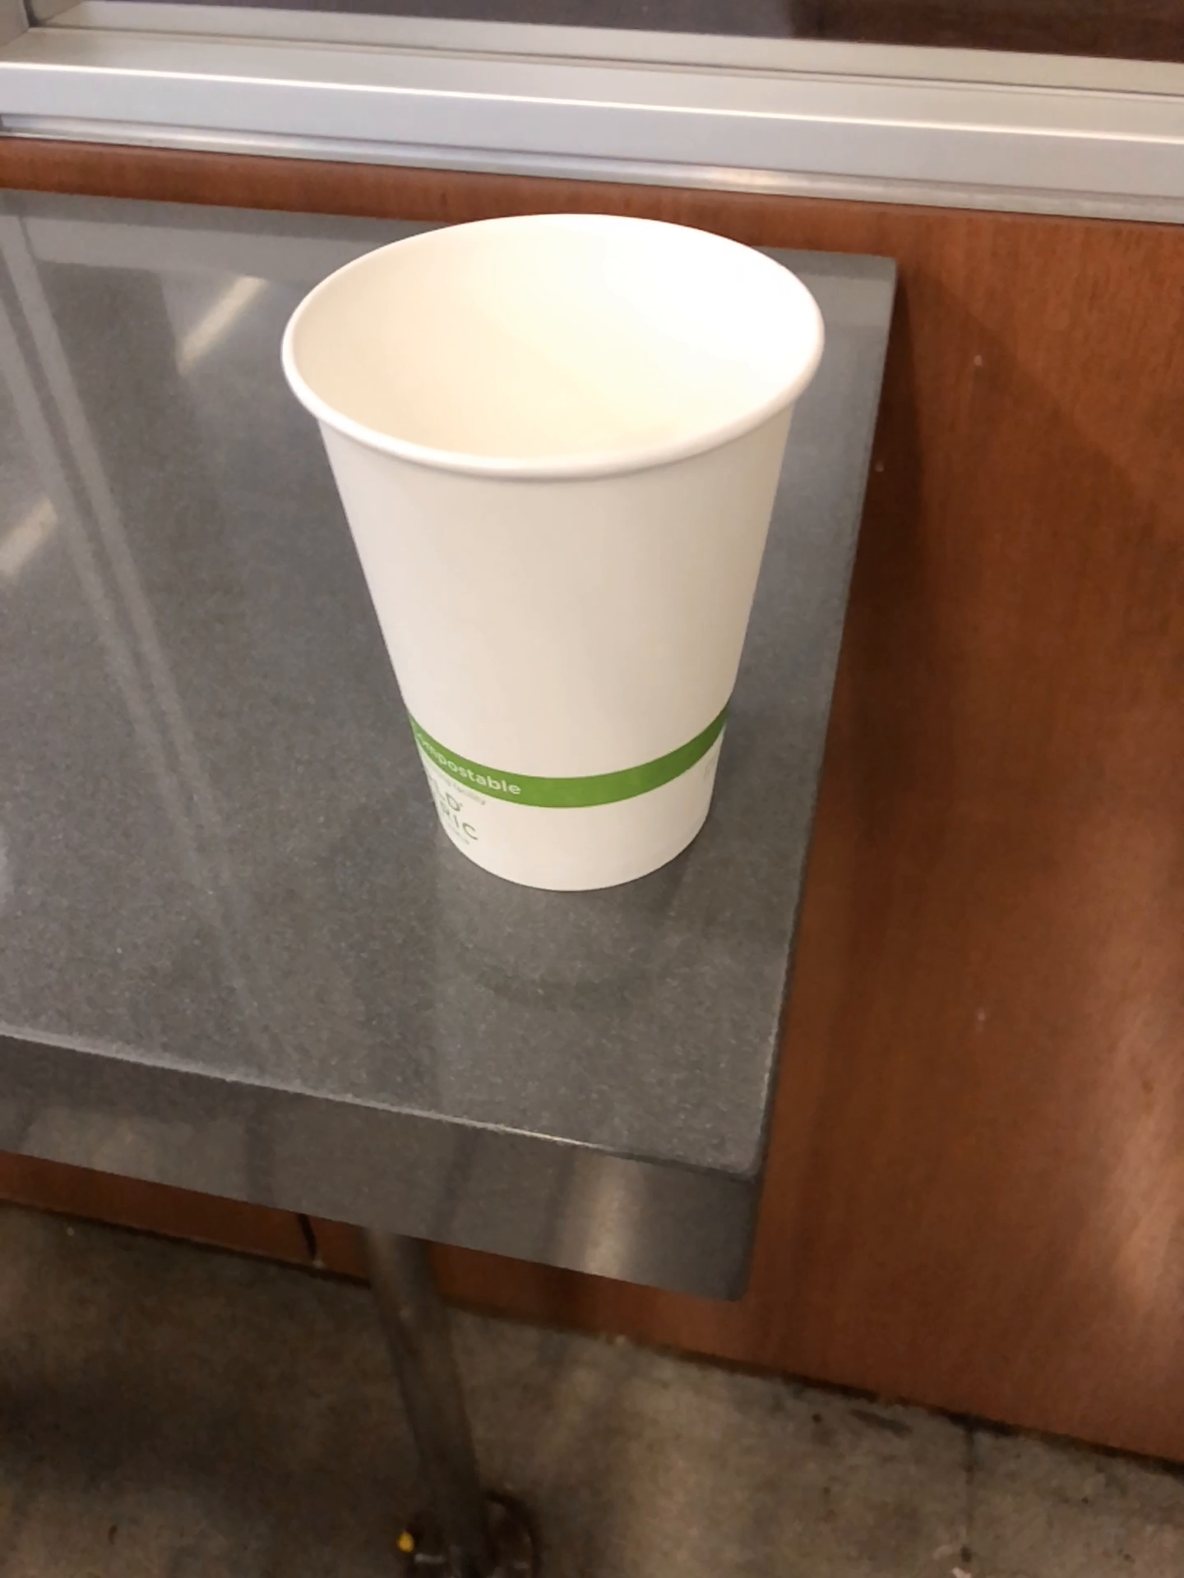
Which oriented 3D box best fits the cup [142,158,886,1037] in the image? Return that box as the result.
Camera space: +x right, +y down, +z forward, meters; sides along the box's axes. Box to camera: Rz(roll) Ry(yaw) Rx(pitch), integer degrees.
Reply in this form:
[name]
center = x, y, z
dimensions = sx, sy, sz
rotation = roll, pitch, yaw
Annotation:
[cup]
center = -0.014, -0.037, 0.252
dimensions = 0.090, 0.119, 0.080
rotation = -24, 49, -23
